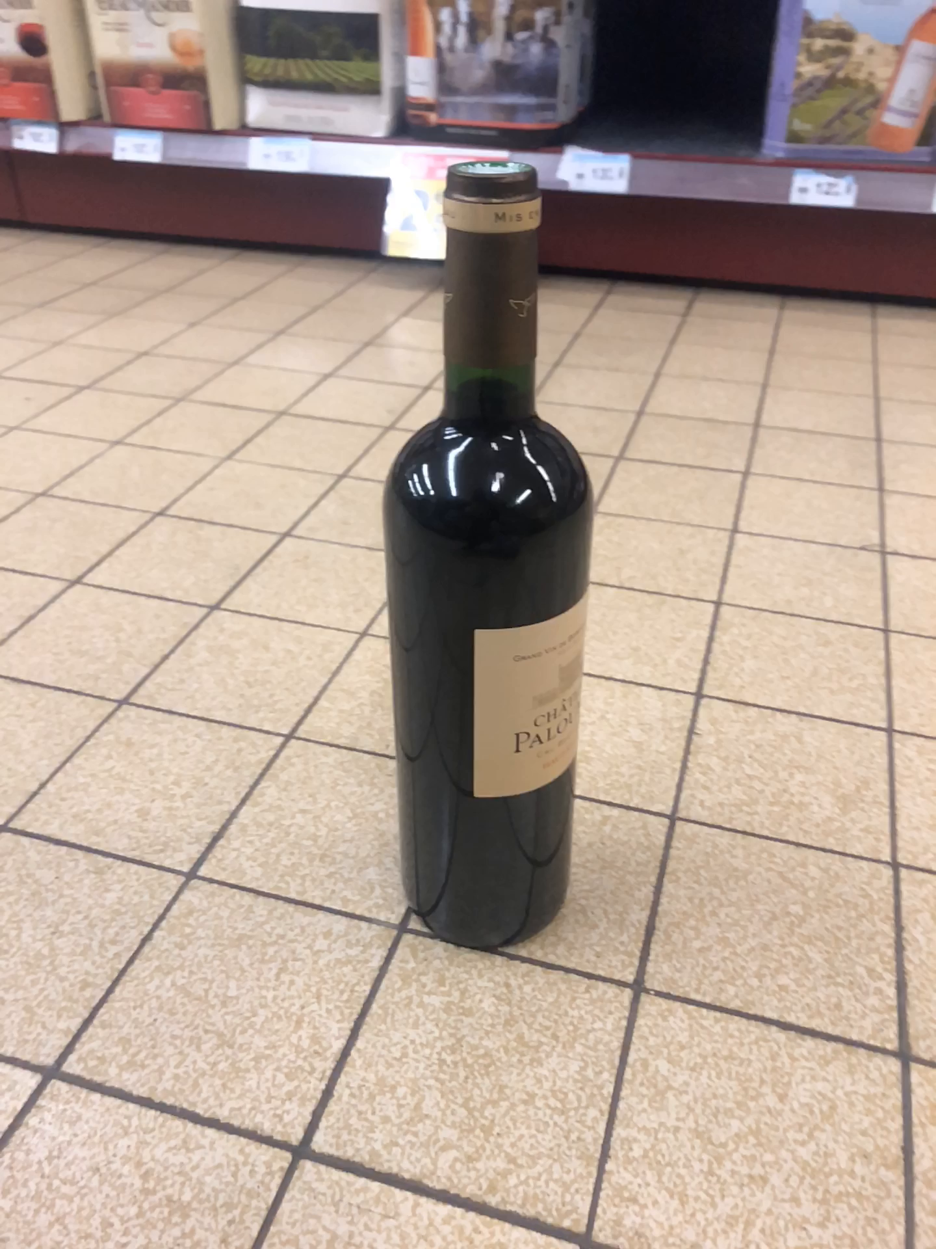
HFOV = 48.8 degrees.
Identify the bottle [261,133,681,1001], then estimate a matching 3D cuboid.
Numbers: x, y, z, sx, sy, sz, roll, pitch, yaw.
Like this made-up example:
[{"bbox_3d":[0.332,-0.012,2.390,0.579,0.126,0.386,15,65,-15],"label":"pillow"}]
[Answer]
[{"bbox_3d":[0.002,-0.008,0.368,0.090,0.288,0.081,18,37,25],"label":"bottle"}]
